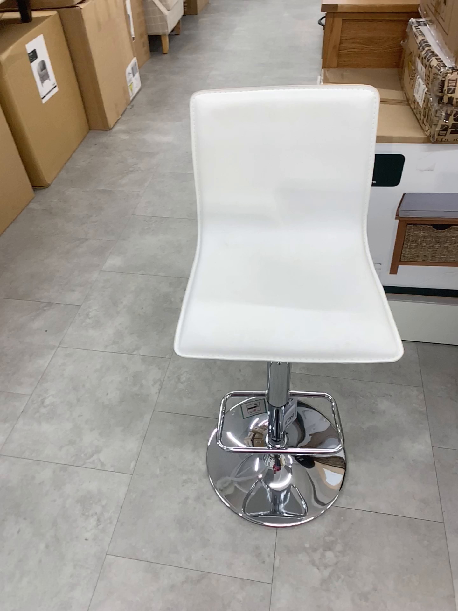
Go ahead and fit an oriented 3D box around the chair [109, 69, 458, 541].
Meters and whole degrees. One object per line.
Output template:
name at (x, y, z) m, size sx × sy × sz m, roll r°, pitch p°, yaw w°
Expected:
chair at (0.128, 0.090, 1.024) m, size 0.459 × 0.989 × 0.446 m, roll 1°, pitch 45°, yaw 5°
